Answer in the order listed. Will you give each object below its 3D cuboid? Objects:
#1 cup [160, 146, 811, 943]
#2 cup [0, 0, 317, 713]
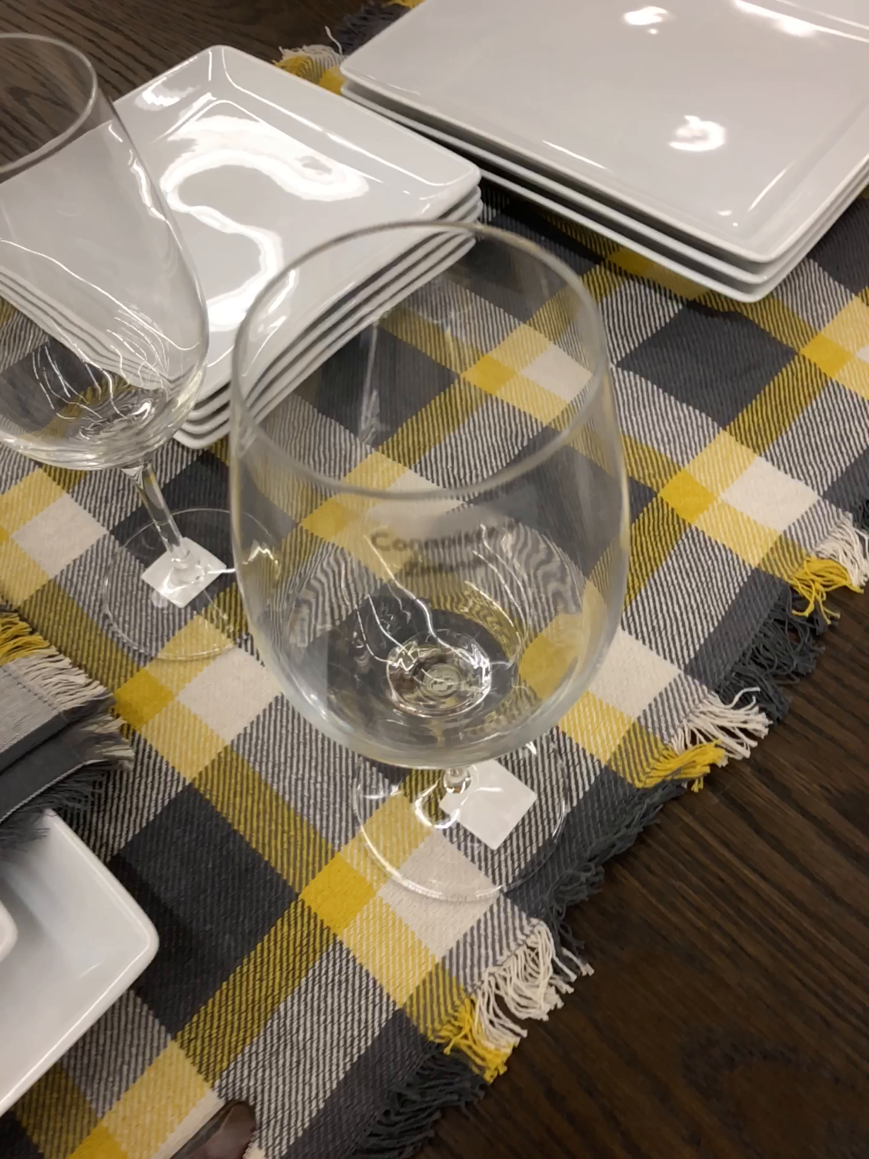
[{"bbox_3d":[0.004,0.013,0.241,0.092,0.192,0.096,-1,58,2],"label":"cup"},{"bbox_3d":[-0.099,-0.050,0.293,0.092,0.193,0.096,-1,58,2],"label":"cup"}]
